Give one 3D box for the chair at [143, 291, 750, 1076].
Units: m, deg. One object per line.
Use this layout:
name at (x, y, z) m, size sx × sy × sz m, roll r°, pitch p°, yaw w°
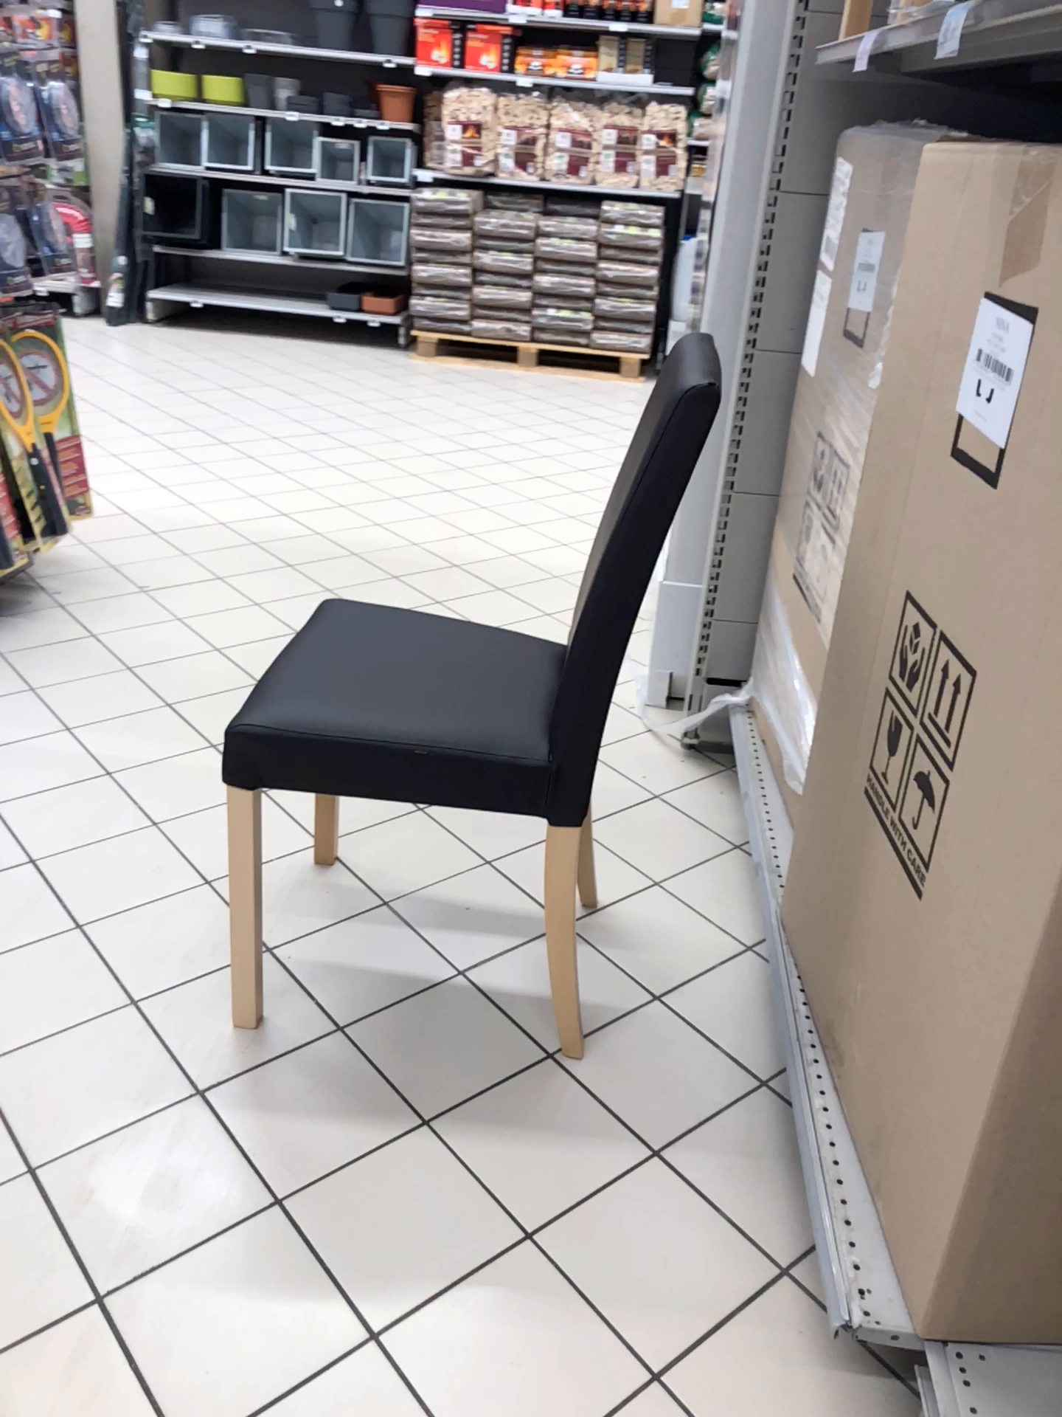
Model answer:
chair at (-0.099, -0.040, 1.509) m, size 0.590 × 0.855 × 0.453 m, roll 5°, pitch 26°, yaw 1°
